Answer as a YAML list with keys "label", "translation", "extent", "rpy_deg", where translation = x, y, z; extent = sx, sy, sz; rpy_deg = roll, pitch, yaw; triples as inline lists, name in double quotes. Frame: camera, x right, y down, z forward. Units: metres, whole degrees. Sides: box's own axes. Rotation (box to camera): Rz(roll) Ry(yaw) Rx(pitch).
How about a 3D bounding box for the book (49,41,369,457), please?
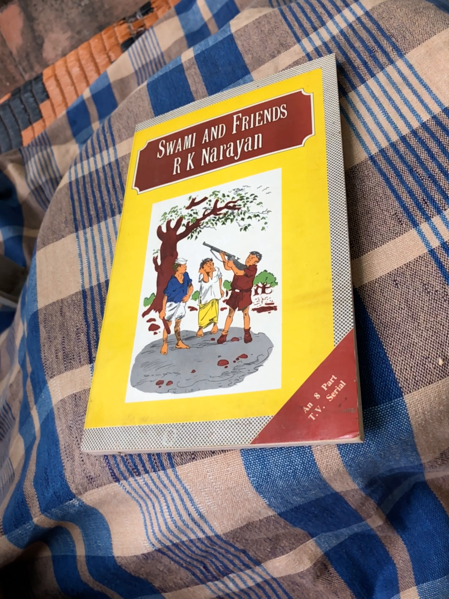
- label: "book"
  translation: [-0.007, -0.027, 0.238]
  extent: [0.130, 0.020, 0.190]
  rpy_deg: [-10, 60, 25]
